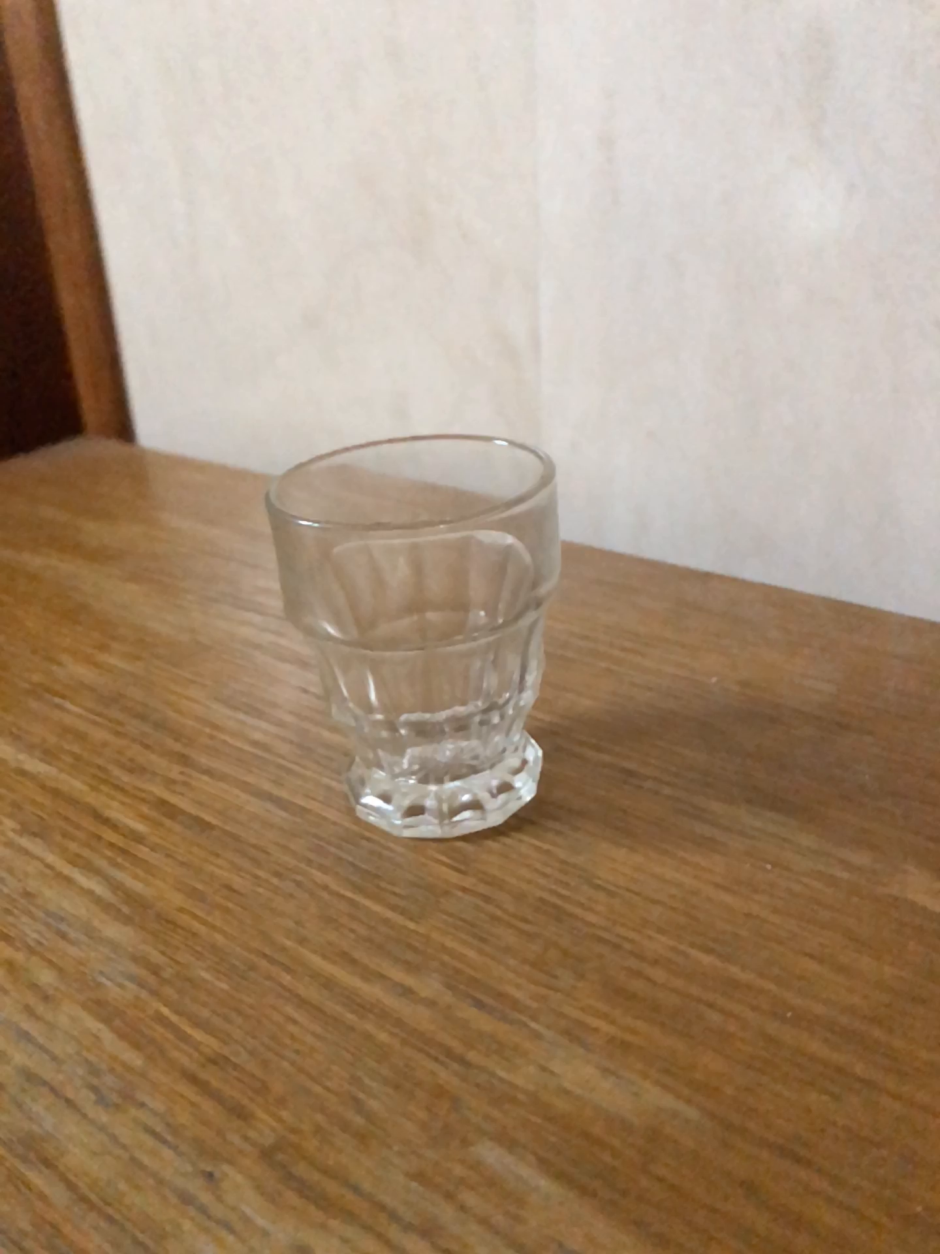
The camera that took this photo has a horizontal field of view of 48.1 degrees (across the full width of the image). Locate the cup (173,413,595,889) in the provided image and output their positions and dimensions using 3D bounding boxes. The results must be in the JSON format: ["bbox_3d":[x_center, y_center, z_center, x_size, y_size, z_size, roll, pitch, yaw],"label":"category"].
[{"bbox_3d":[-0.011,0.000,0.213,0.060,0.070,0.060,-2,26,1],"label":"cup"}]
